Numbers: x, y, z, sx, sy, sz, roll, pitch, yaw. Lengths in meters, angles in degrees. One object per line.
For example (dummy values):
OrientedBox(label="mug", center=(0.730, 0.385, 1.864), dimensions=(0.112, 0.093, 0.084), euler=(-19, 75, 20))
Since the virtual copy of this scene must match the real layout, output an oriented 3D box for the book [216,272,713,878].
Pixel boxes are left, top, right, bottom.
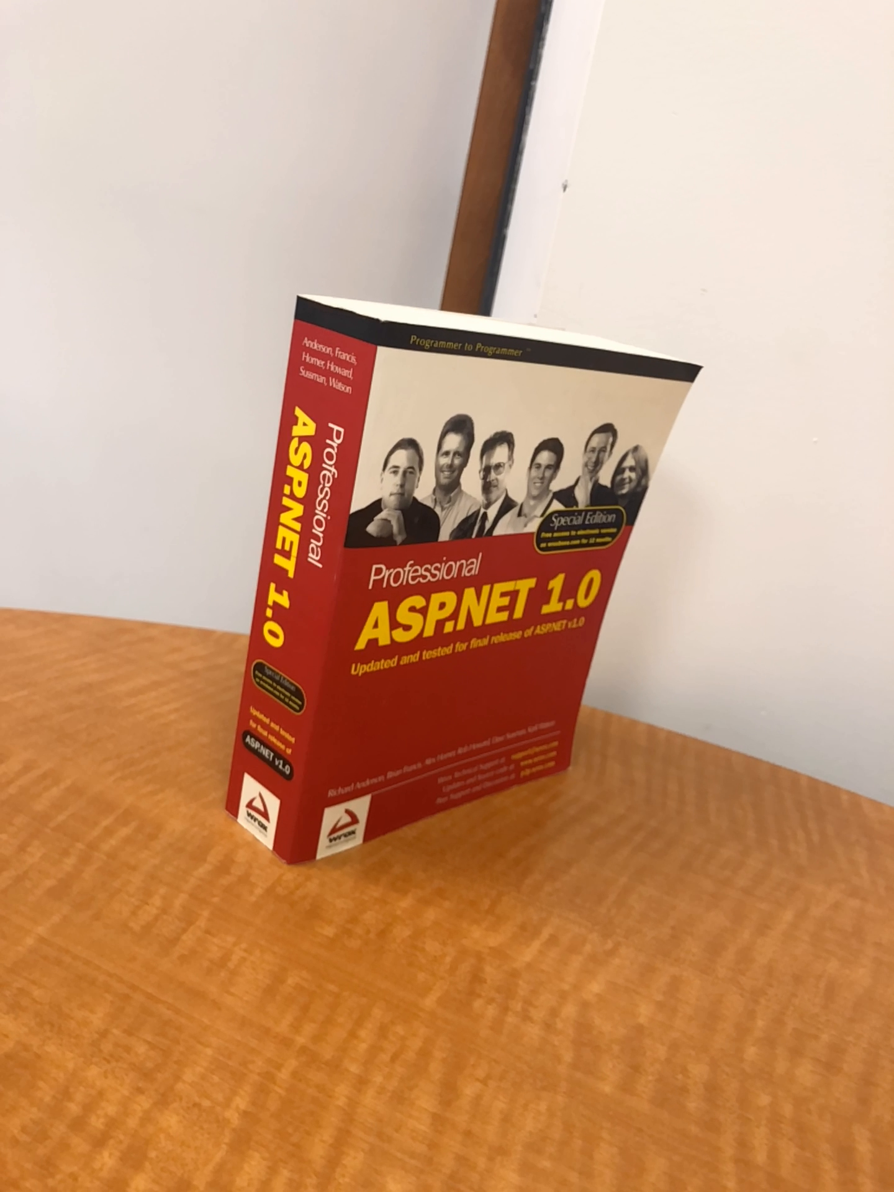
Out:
OrientedBox(label="book", center=(0.014, -0.012, 0.453), dimensions=(0.210, 0.229, 0.050), euler=(-7, 27, -45))
